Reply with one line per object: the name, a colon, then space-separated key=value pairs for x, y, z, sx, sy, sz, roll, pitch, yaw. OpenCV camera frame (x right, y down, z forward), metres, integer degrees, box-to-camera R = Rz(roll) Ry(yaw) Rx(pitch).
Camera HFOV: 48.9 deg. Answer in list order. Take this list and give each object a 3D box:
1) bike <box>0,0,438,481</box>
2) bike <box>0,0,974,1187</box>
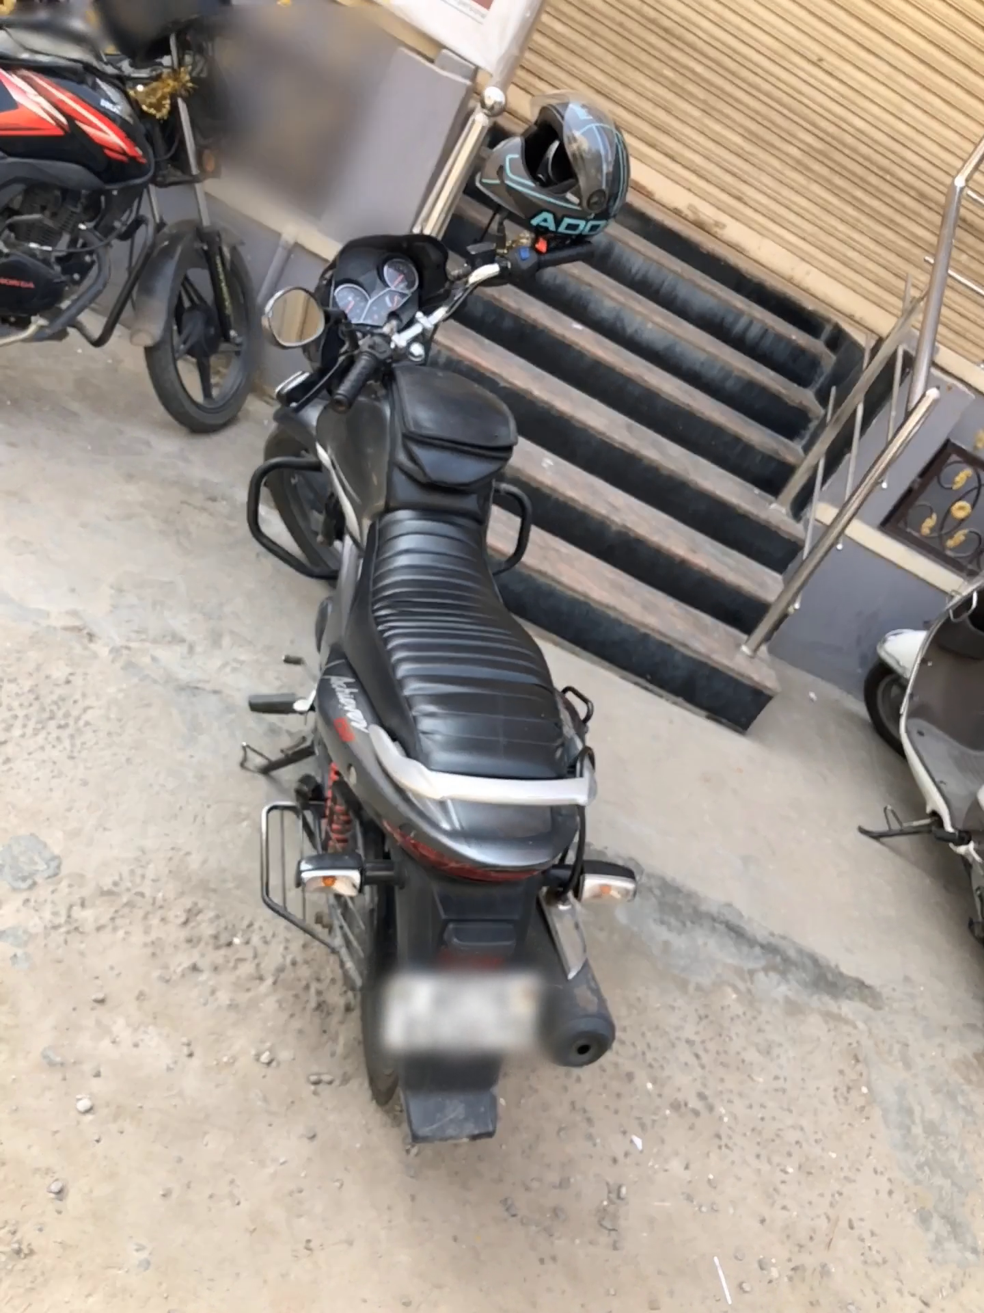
bike: x=-1.078 y=-1.082 z=2.543 sx=0.683 sy=1.057 sz=1.606 roll=43 pitch=27 yaw=22
bike: x=-0.306 y=-0.308 z=1.880 sx=0.747 sy=1.156 sz=1.742 roll=15 pitch=33 yaw=-31
